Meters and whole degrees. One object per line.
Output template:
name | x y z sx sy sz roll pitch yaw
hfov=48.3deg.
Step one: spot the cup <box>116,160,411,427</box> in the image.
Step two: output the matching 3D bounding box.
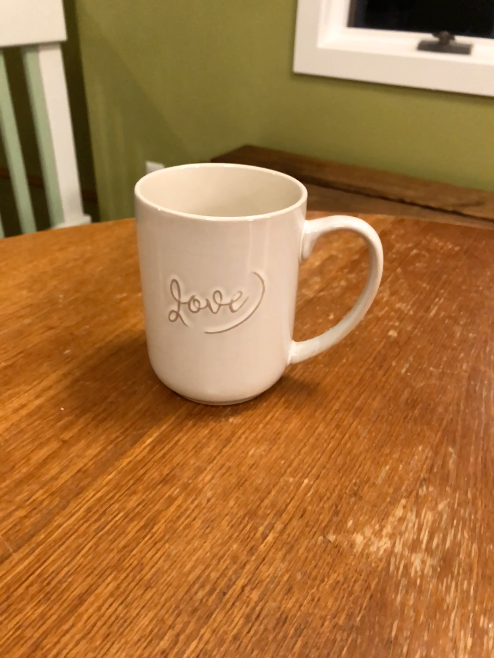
cup | 0.004 -0.022 0.321 0.134 0.124 0.092 0 32 -4
